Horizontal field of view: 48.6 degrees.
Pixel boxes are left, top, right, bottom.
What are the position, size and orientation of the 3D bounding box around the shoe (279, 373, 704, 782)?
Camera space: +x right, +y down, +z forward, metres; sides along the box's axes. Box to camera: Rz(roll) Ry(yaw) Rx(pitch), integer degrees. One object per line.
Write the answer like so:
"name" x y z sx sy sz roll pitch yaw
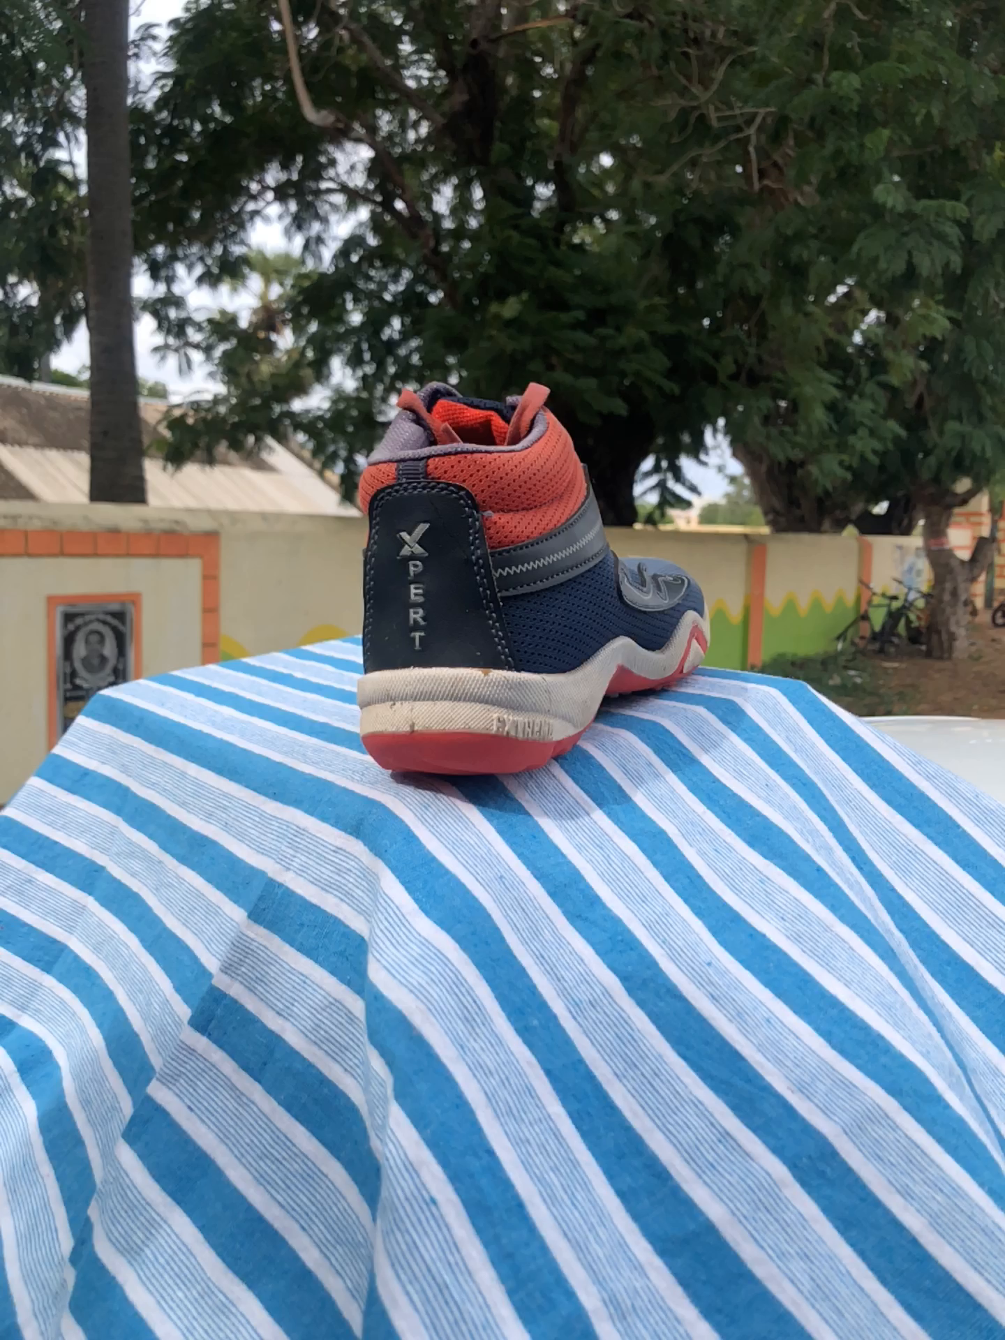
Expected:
"shoe" 0.016 -0.044 0.469 0.100 0.120 0.271 3 7 17
